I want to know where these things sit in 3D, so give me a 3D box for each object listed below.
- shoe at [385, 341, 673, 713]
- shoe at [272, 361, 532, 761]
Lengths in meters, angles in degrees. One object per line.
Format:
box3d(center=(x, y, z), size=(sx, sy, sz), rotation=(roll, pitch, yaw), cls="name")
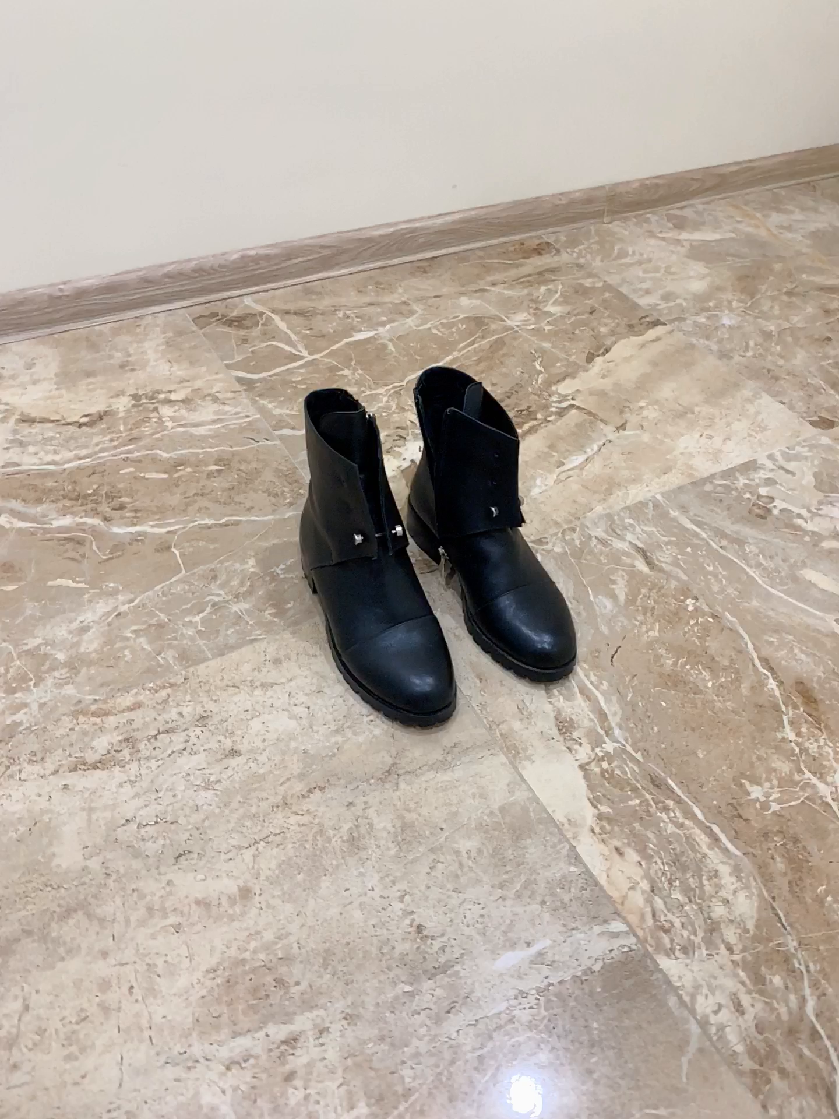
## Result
box3d(center=(0.075, -0.034, 0.754), size=(0.090, 0.199, 0.251), rotation=(-21, 50, -25), cls="shoe")
box3d(center=(-0.030, -0.003, 0.710), size=(0.090, 0.199, 0.251), rotation=(-18, 51, -22), cls="shoe")
